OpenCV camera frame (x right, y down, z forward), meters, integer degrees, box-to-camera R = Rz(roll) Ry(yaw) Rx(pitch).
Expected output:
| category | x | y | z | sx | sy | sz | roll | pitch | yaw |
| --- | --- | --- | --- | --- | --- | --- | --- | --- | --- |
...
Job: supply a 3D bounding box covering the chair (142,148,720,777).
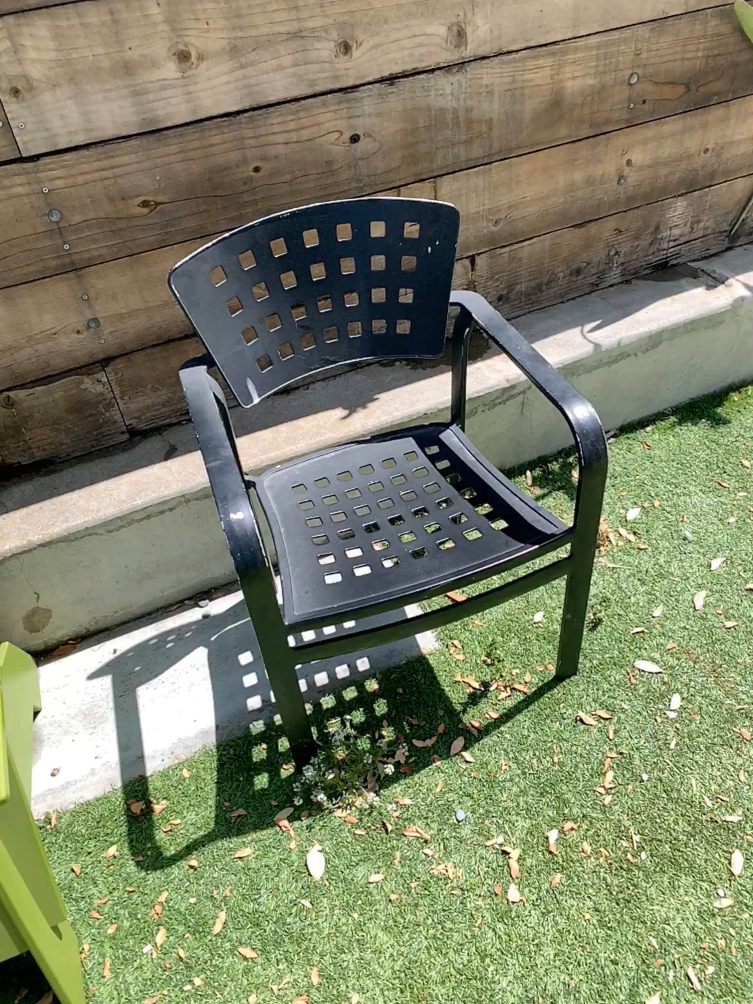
| category | x | y | z | sx | sy | sz | roll | pitch | yaw |
| --- | --- | --- | --- | --- | --- | --- | --- | --- | --- |
| chair | 0.051 | -0.059 | 1.244 | 0.590 | 0.716 | 0.523 | -17 | 45 | -11 |
